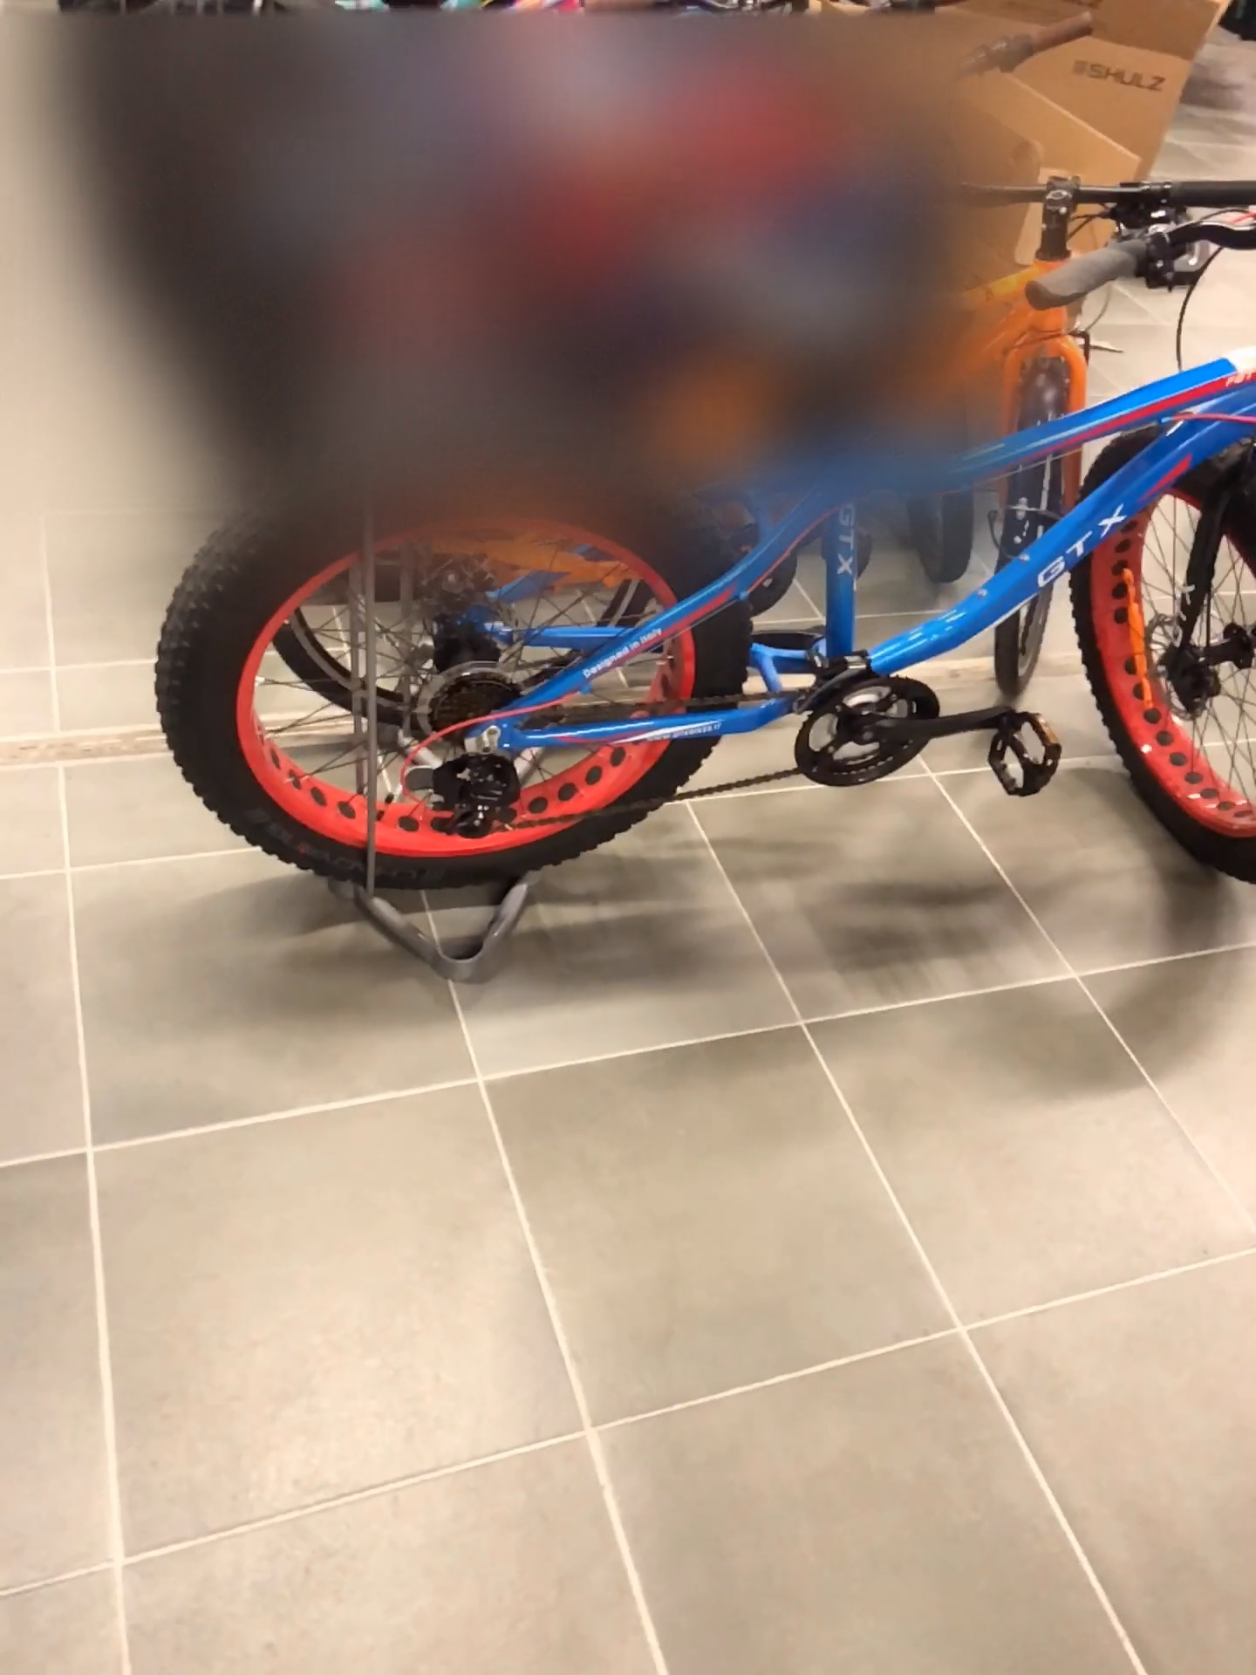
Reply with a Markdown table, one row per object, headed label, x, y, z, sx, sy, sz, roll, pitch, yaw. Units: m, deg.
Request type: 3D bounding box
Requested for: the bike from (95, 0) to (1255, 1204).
| label | x | y | z | sx | sy | sz | roll | pitch | yaw |
| --- | --- | --- | --- | --- | --- | --- | --- | --- | --- |
| bike | 0.272 | -0.277 | 1.527 | 1.469 | 1.023 | 0.617 | -6 | 45 | -21 |
